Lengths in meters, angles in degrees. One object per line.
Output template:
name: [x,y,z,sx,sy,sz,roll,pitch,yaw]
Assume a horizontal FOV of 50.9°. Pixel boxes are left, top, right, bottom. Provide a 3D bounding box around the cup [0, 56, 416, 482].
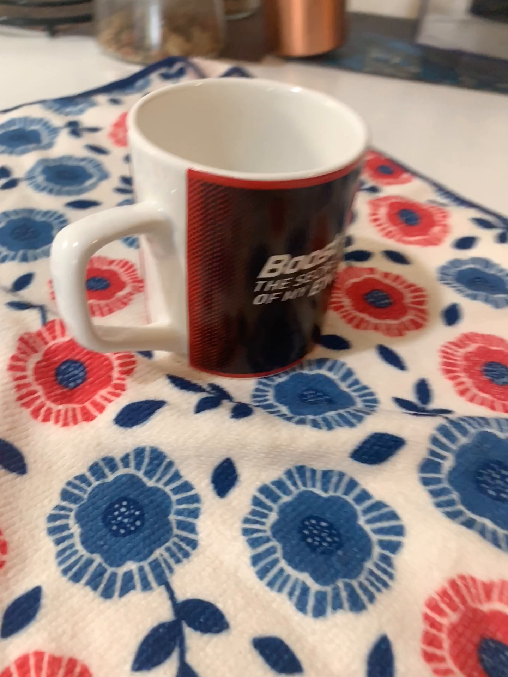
cup: [-0.018,-0.033,0.190,0.080,0.089,0.111,35,51,28]
